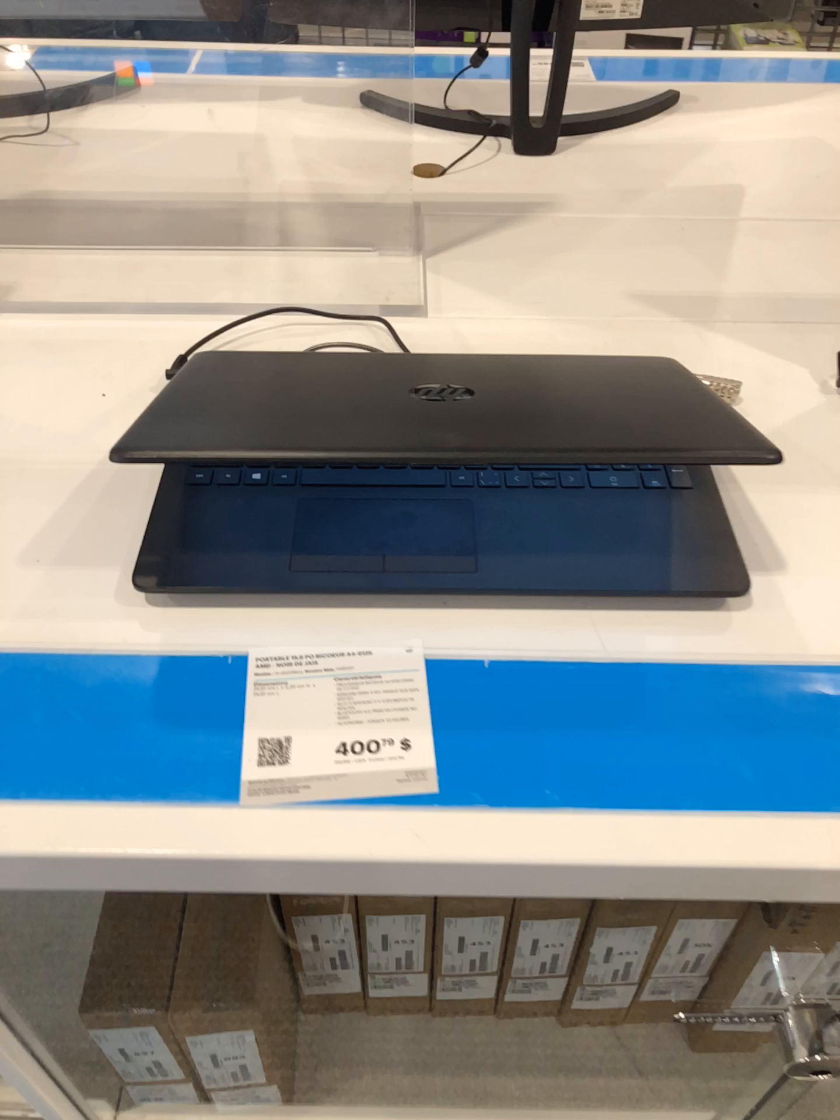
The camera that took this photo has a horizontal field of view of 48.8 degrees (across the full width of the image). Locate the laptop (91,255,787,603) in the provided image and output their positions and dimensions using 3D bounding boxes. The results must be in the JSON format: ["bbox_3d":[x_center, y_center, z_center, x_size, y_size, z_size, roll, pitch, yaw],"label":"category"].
[{"bbox_3d":[0.015,-0.091,0.599,0.365,0.091,0.235,1,45,-5],"label":"laptop"}]
